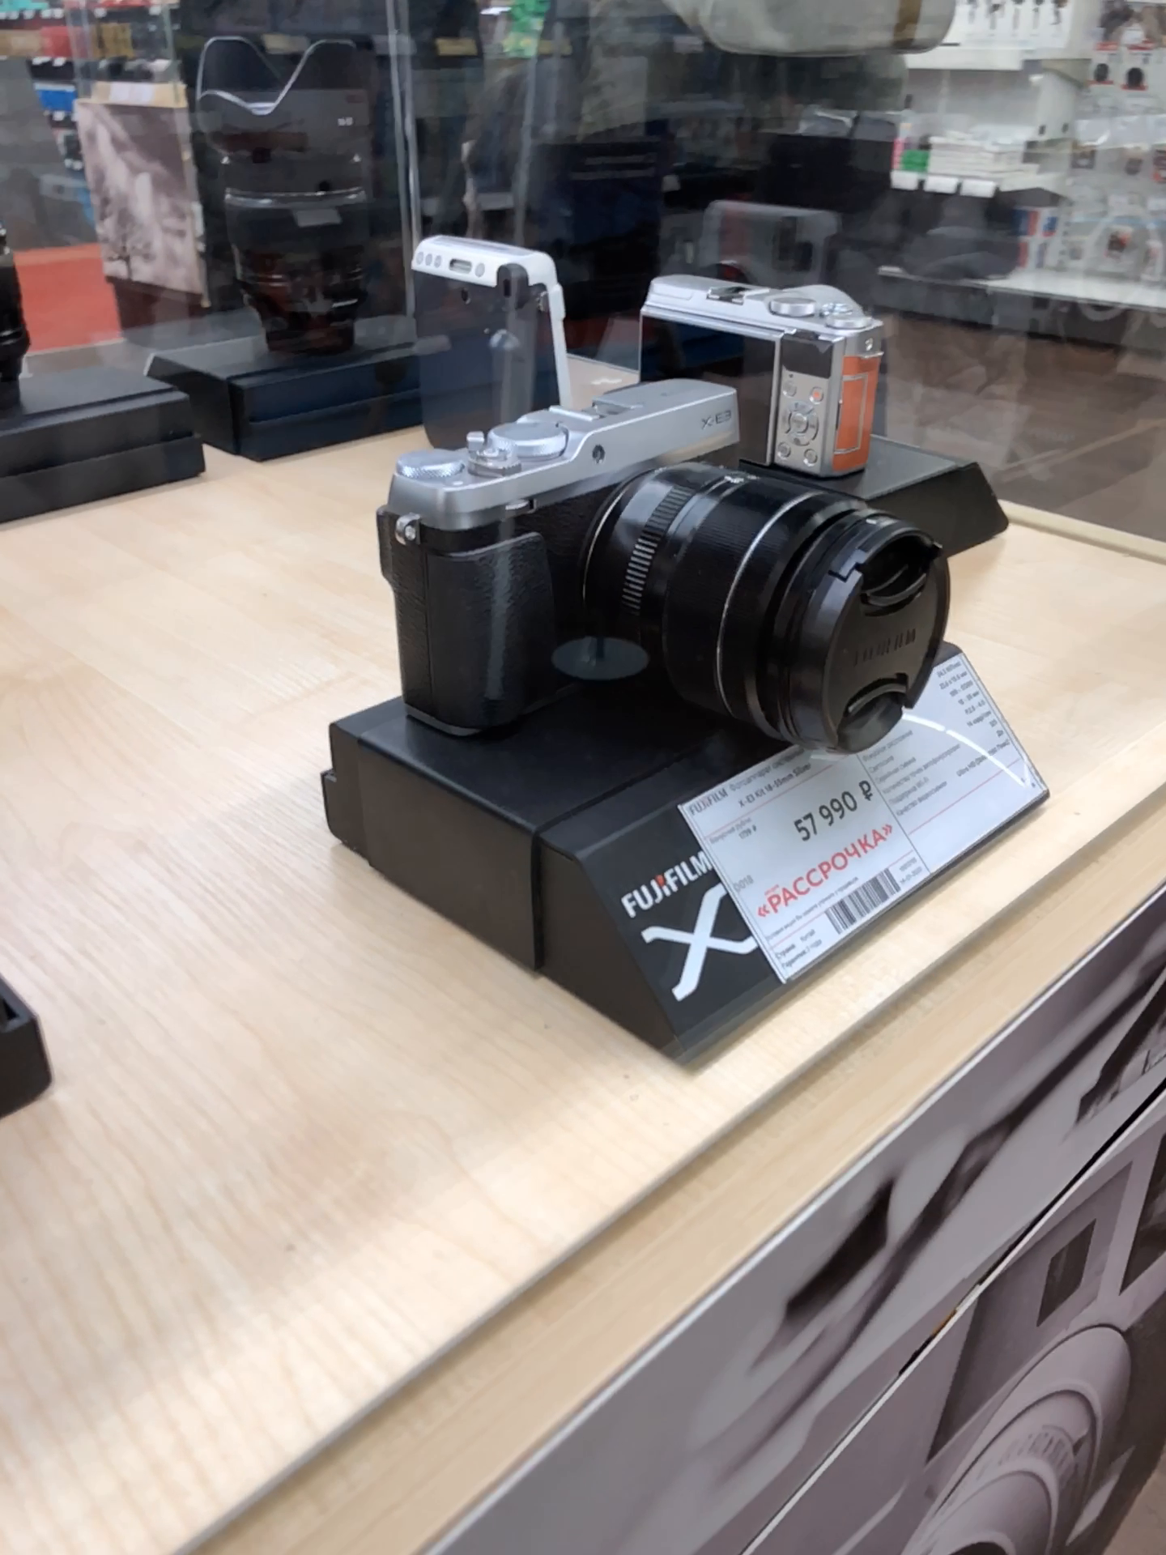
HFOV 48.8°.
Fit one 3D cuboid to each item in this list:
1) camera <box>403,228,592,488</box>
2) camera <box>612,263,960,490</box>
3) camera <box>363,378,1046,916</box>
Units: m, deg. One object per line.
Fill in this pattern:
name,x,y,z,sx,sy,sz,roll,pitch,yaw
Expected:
camera,-0.043,-0.217,0.661,0.045,0.109,0.088,-26,38,-34
camera,0.087,-0.185,0.581,0.077,0.068,0.132,-25,38,-37
camera,0.032,-0.047,0.346,0.116,0.080,0.132,26,39,38
